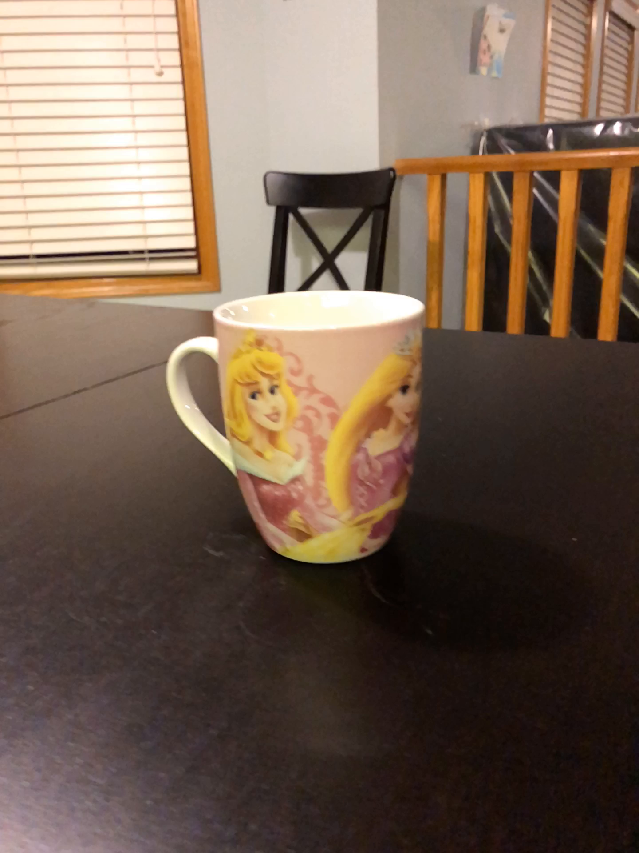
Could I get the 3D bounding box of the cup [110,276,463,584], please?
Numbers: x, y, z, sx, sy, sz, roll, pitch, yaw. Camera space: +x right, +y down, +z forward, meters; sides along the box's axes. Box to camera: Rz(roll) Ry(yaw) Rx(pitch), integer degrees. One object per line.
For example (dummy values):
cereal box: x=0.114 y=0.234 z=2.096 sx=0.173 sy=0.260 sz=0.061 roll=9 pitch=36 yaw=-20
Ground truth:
cup: x=-0.009 y=-0.009 z=0.313 sx=0.120 sy=0.100 sz=0.090 roll=7 pitch=20 yaw=24
